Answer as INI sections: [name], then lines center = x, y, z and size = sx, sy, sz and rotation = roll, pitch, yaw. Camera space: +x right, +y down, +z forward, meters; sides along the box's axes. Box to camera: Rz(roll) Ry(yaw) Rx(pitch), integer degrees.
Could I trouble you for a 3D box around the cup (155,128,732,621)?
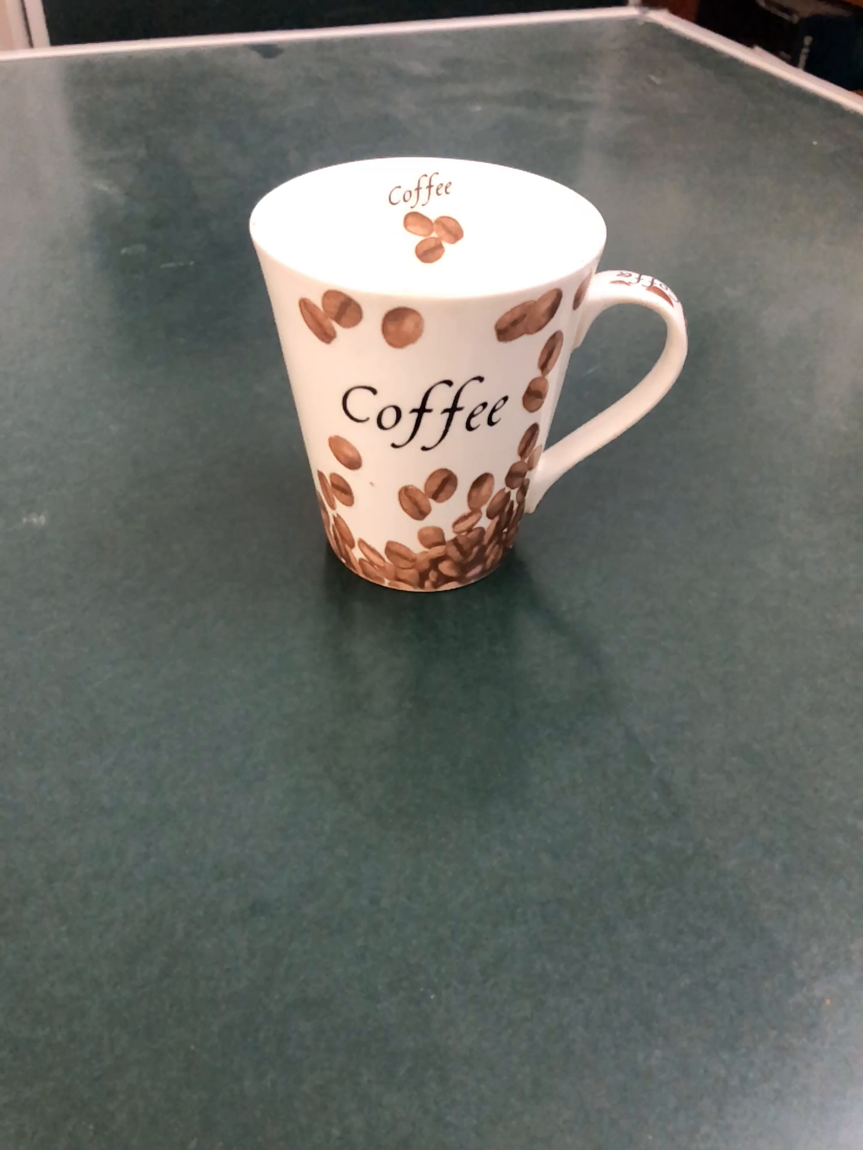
[cup]
center = 0.005, -0.059, 0.267
size = 0.120, 0.090, 0.100
rotation = 4, 41, 3
